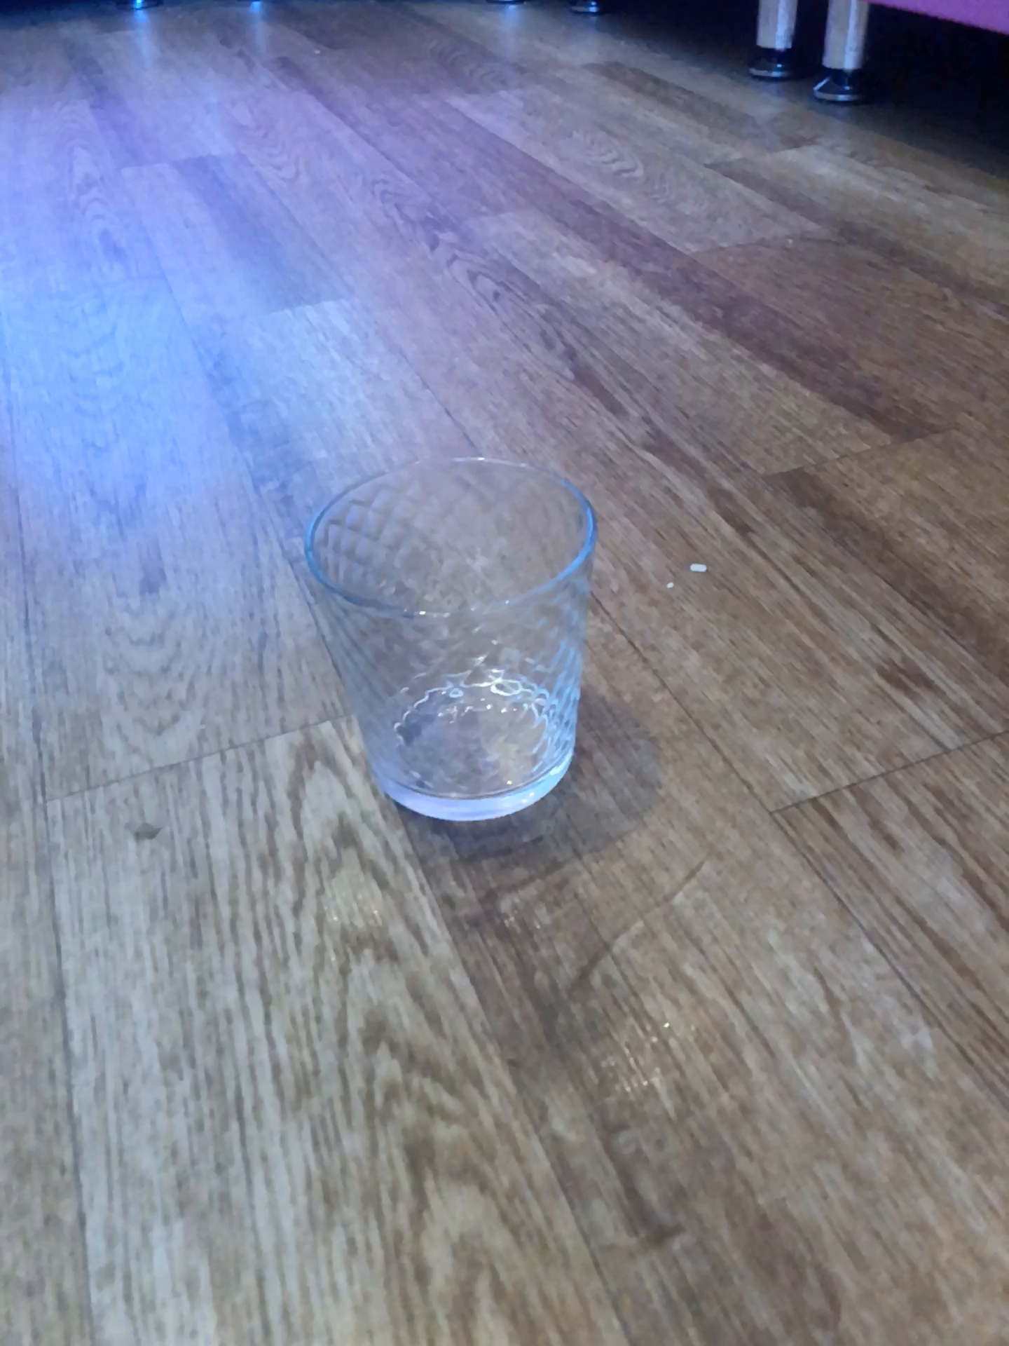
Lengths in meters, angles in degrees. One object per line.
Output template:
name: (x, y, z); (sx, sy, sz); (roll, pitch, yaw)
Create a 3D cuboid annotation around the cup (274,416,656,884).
cup: (-0.011, -0.009, 0.326); (0.080, 0.090, 0.080); (-2, 39, 2)
